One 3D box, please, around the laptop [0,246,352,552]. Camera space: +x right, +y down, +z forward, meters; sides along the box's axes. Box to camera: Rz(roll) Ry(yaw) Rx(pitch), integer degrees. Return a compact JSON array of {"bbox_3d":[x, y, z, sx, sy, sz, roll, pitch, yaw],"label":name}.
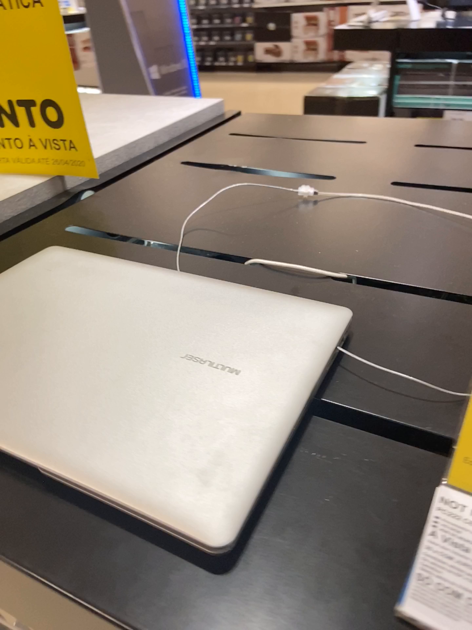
[{"bbox_3d":[-0.099,0.019,0.359,0.315,0.003,0.206,13,39,24],"label":"laptop"}]
